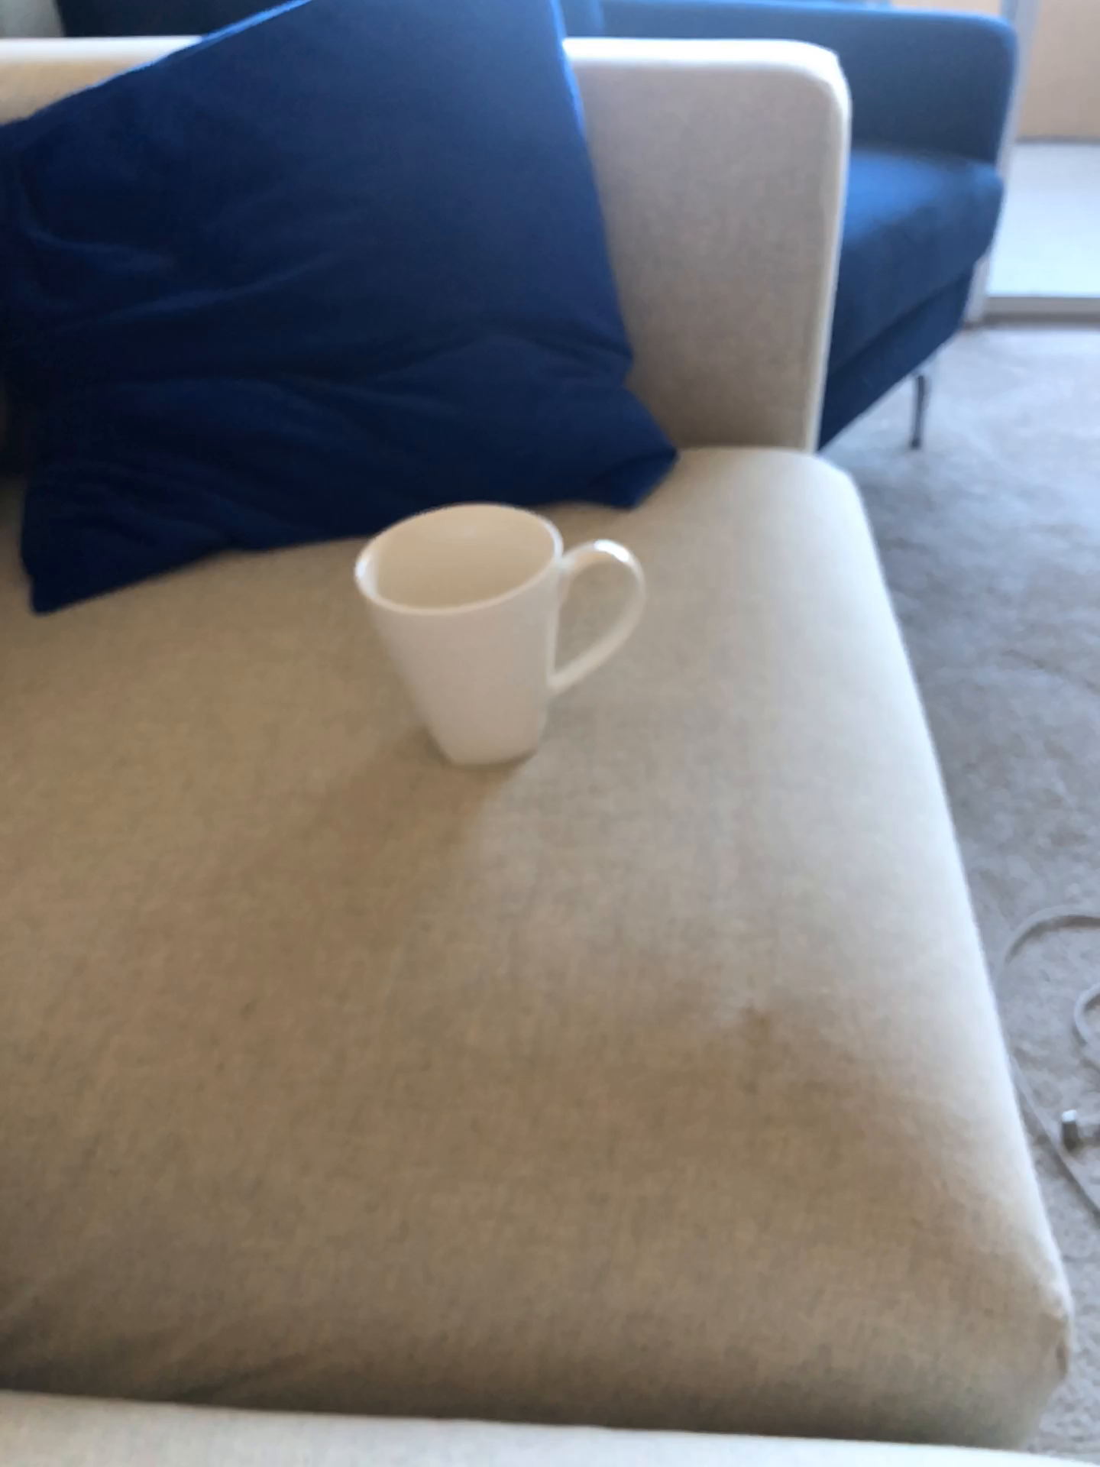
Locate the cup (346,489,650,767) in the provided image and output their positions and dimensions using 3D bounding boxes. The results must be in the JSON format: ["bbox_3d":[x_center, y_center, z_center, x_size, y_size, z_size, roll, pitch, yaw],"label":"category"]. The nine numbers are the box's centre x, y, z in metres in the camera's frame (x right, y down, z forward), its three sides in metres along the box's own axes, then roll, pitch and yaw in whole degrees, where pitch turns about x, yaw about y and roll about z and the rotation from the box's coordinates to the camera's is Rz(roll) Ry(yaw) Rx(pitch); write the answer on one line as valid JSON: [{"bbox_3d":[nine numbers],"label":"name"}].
[{"bbox_3d":[-0.023,-0.053,0.596,0.130,0.090,0.101,-2,36,-1],"label":"cup"}]
